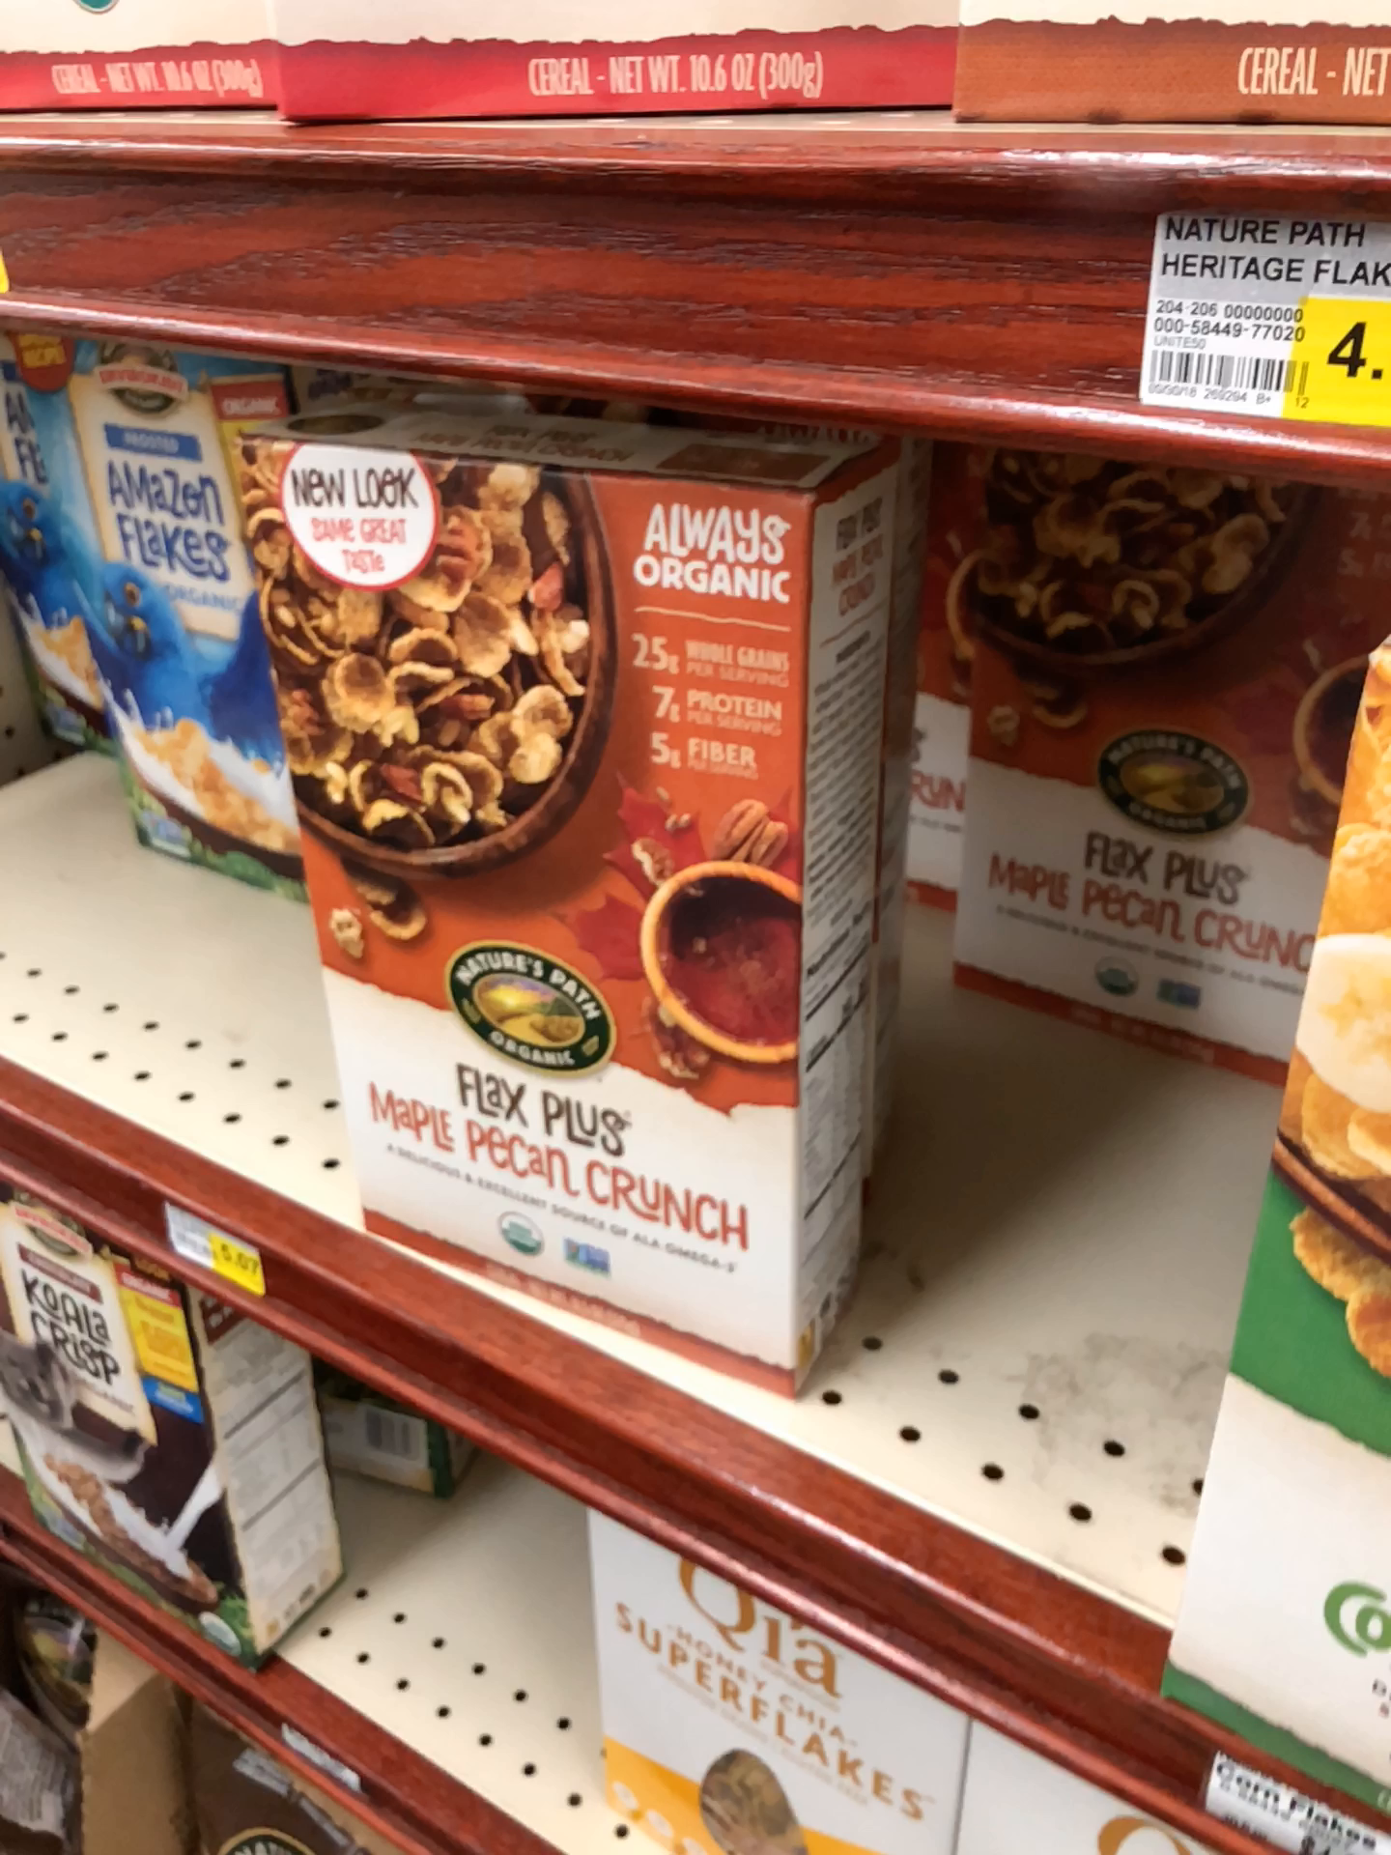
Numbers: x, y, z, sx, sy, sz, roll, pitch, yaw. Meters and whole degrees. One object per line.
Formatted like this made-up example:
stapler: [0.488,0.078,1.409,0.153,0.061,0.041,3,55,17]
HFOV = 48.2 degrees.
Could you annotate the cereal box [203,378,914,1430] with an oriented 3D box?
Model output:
cereal box: [-0.031,-0.005,0.427,0.160,0.259,0.060,14,33,27]
